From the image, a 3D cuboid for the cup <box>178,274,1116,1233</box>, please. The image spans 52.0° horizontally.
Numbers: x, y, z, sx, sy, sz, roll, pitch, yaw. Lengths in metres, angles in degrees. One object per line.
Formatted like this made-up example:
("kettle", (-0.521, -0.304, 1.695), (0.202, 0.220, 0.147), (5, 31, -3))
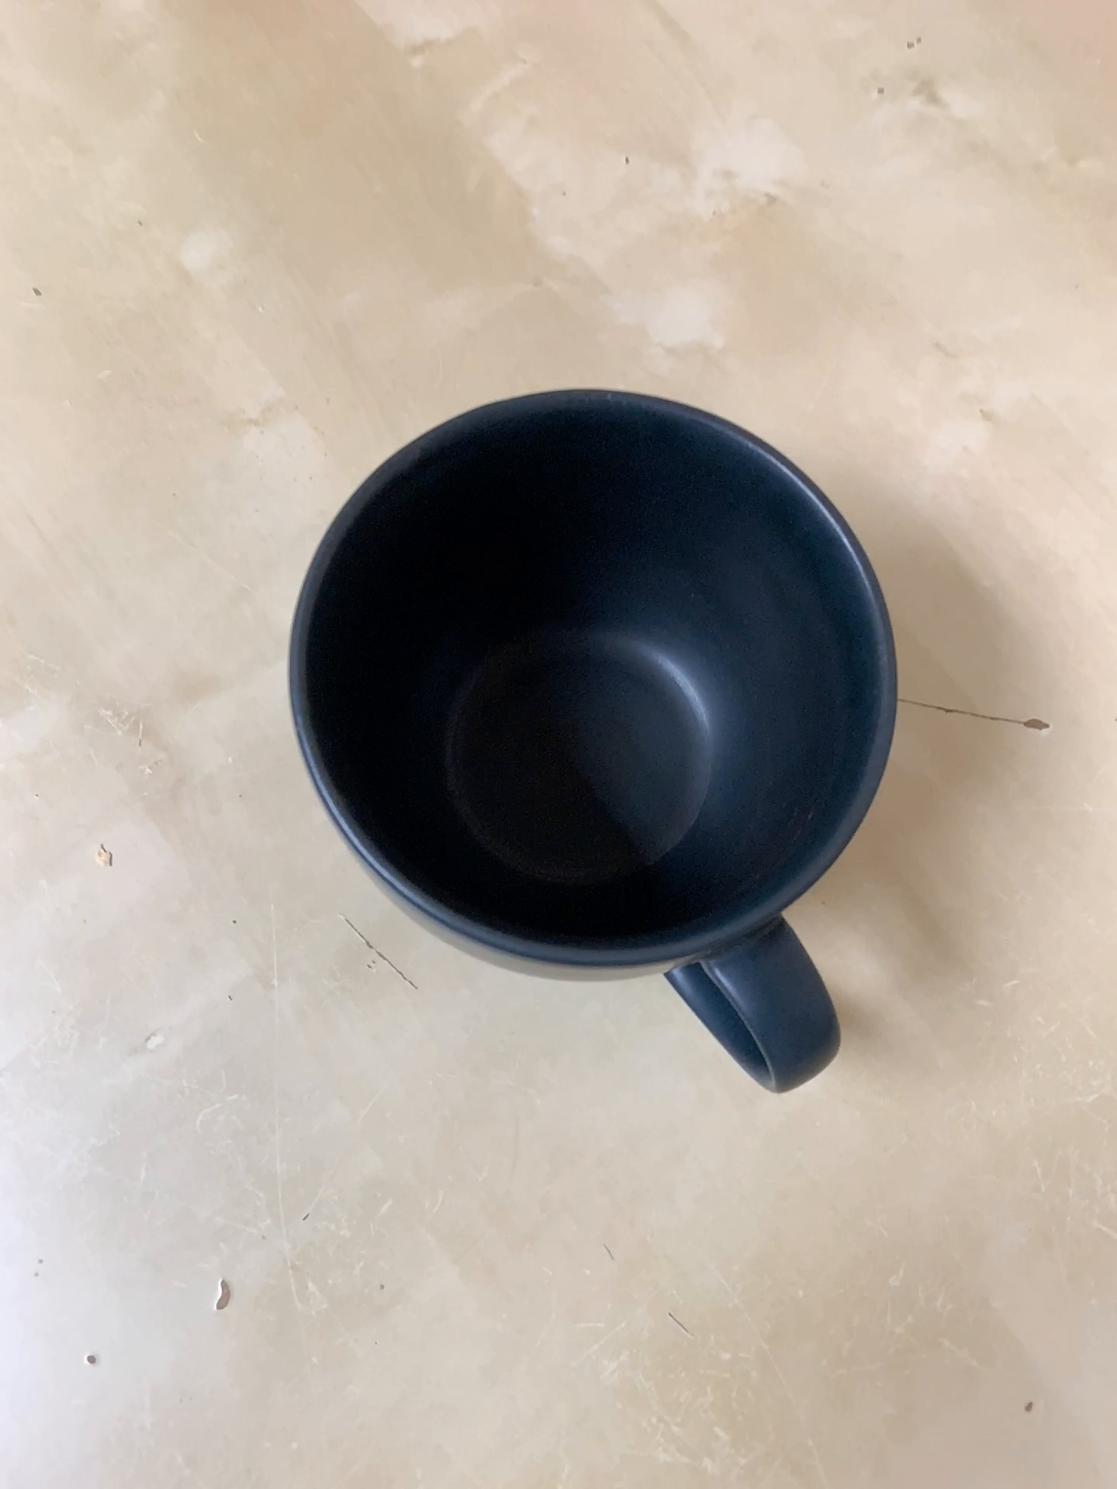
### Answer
("cup", (0.020, -0.001, 0.271), (0.135, 0.068, 0.158), (-34, 78, -11))
